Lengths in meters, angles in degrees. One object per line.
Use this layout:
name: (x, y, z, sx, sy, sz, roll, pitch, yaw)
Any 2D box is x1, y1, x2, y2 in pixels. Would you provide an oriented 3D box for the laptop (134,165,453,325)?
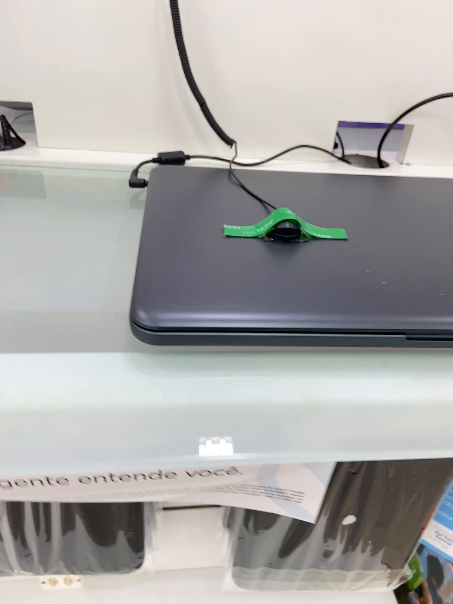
laptop: (0.117, -0.055, 0.354, 0.350, 0.001, 0.234, 1, 35, -7)
